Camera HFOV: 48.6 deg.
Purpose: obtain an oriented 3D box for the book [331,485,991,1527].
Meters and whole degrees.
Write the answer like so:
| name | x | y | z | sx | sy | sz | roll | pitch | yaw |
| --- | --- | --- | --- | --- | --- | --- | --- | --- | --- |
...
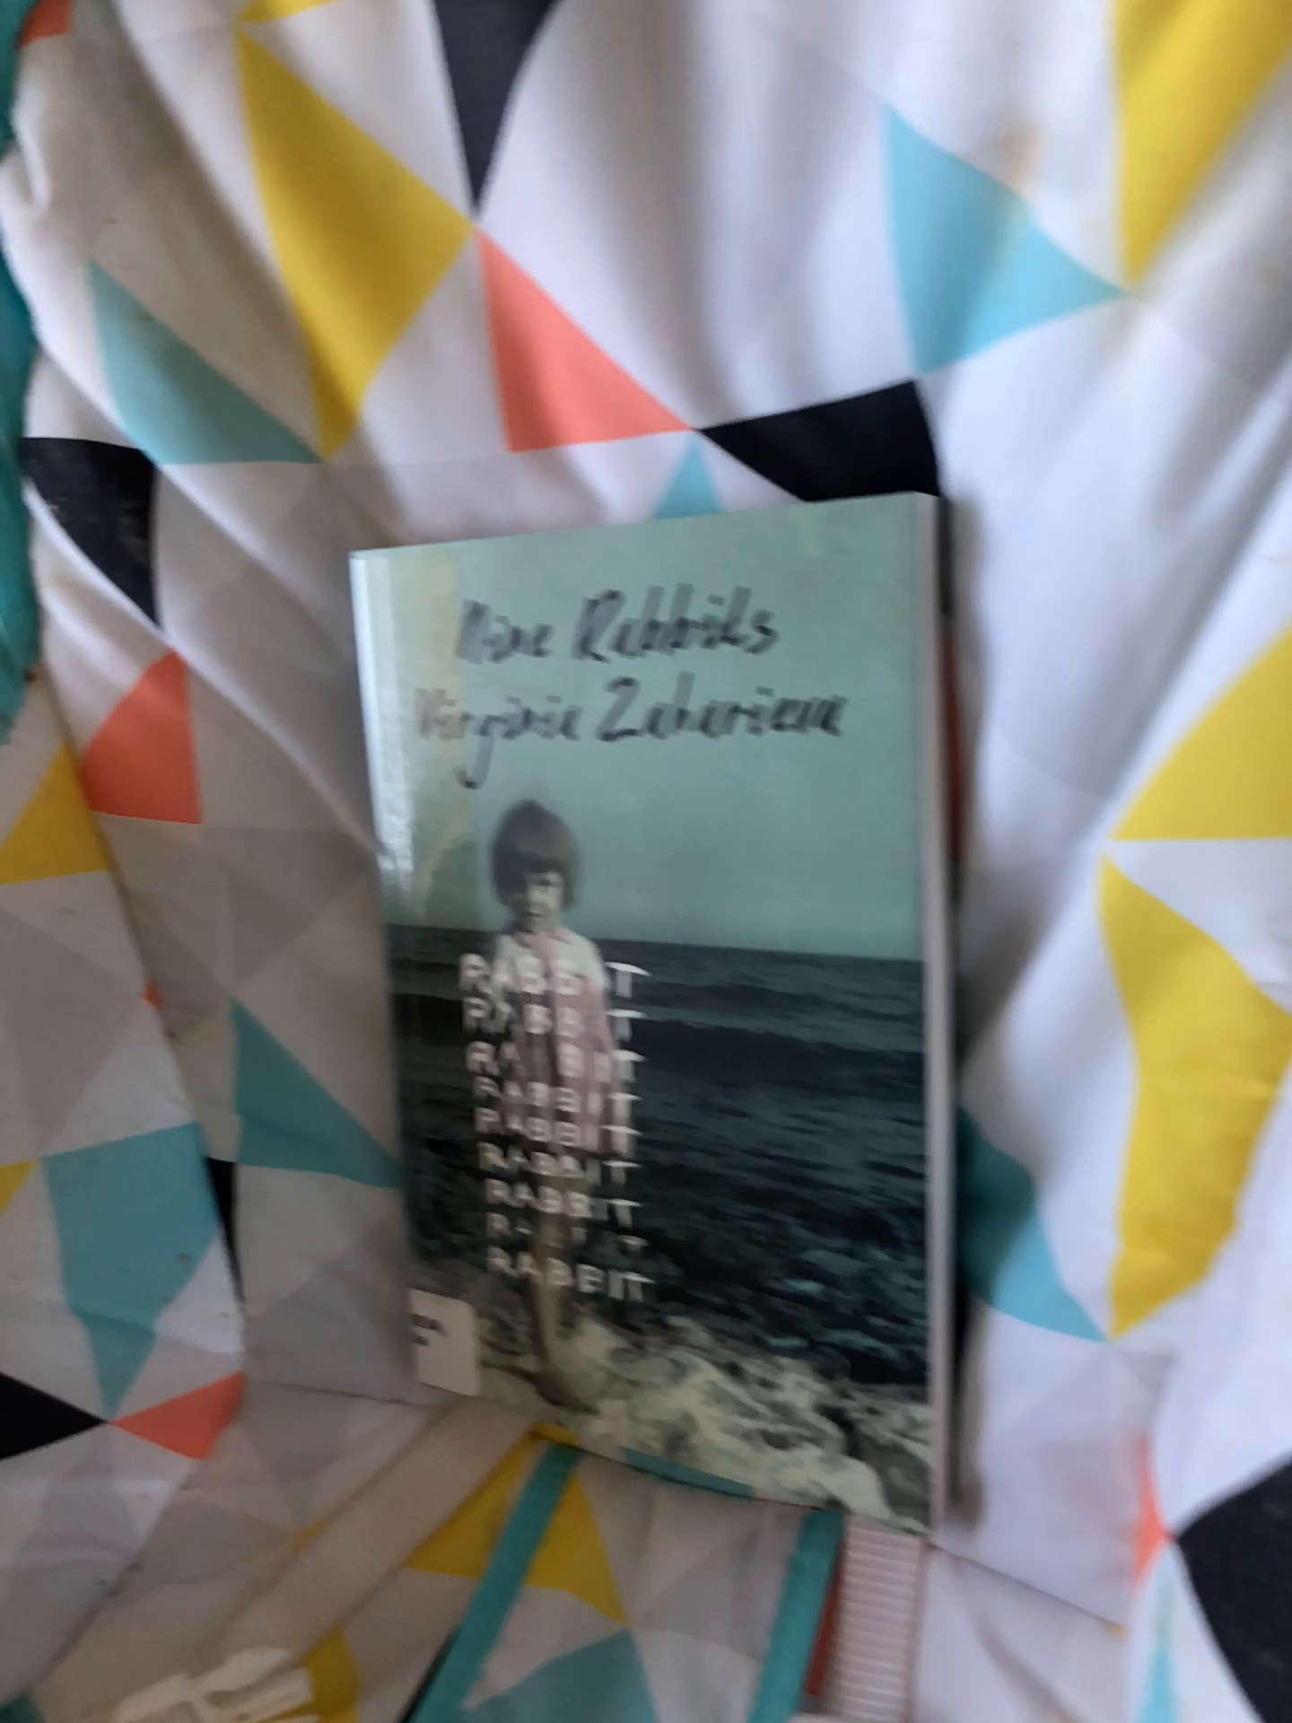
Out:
| name | x | y | z | sx | sy | sz | roll | pitch | yaw |
| --- | --- | --- | --- | --- | --- | --- | --- | --- | --- |
| book | 0.000 | 0.028 | 0.316 | 0.146 | 0.025 | 0.200 | 2 | 99 | 30 |
